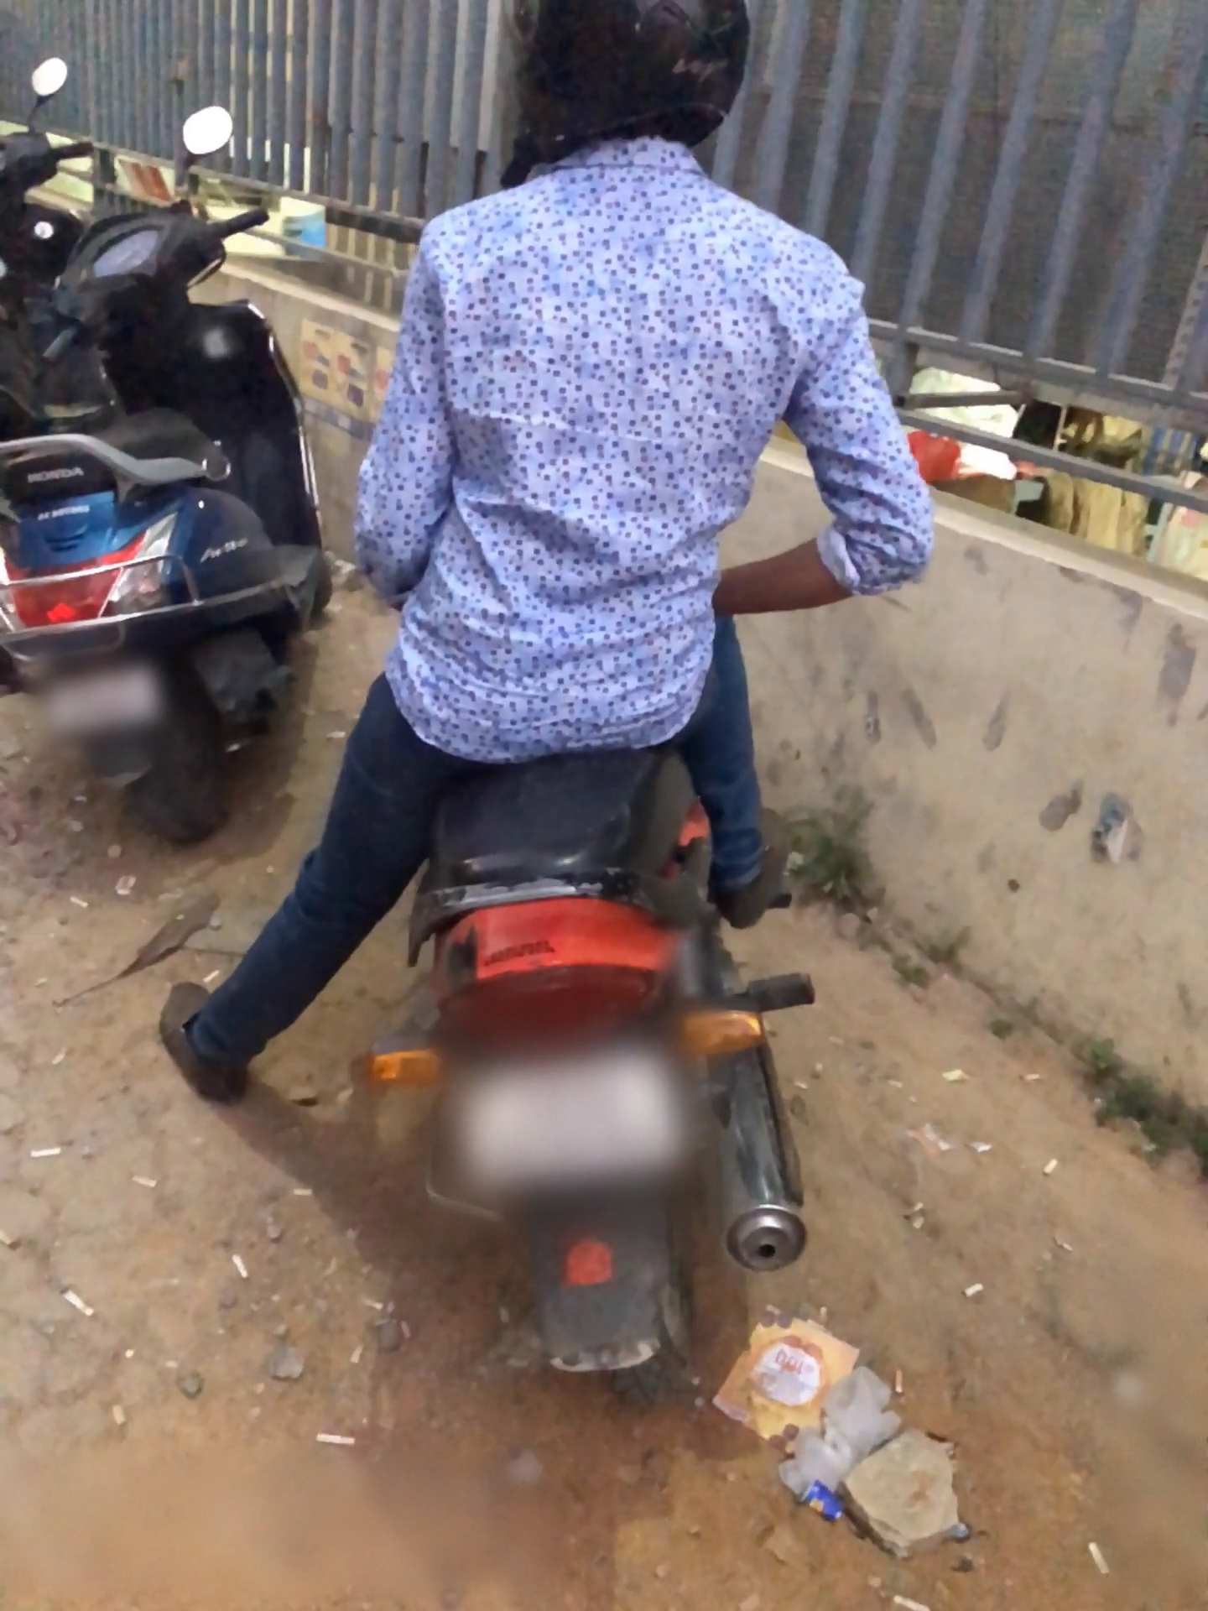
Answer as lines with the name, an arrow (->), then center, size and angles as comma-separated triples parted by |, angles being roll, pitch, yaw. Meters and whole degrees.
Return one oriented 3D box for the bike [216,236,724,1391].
bike -> -0.309, -0.200, 1.998 | 0.424, 0.830, 1.661 | 2, 32, -13
